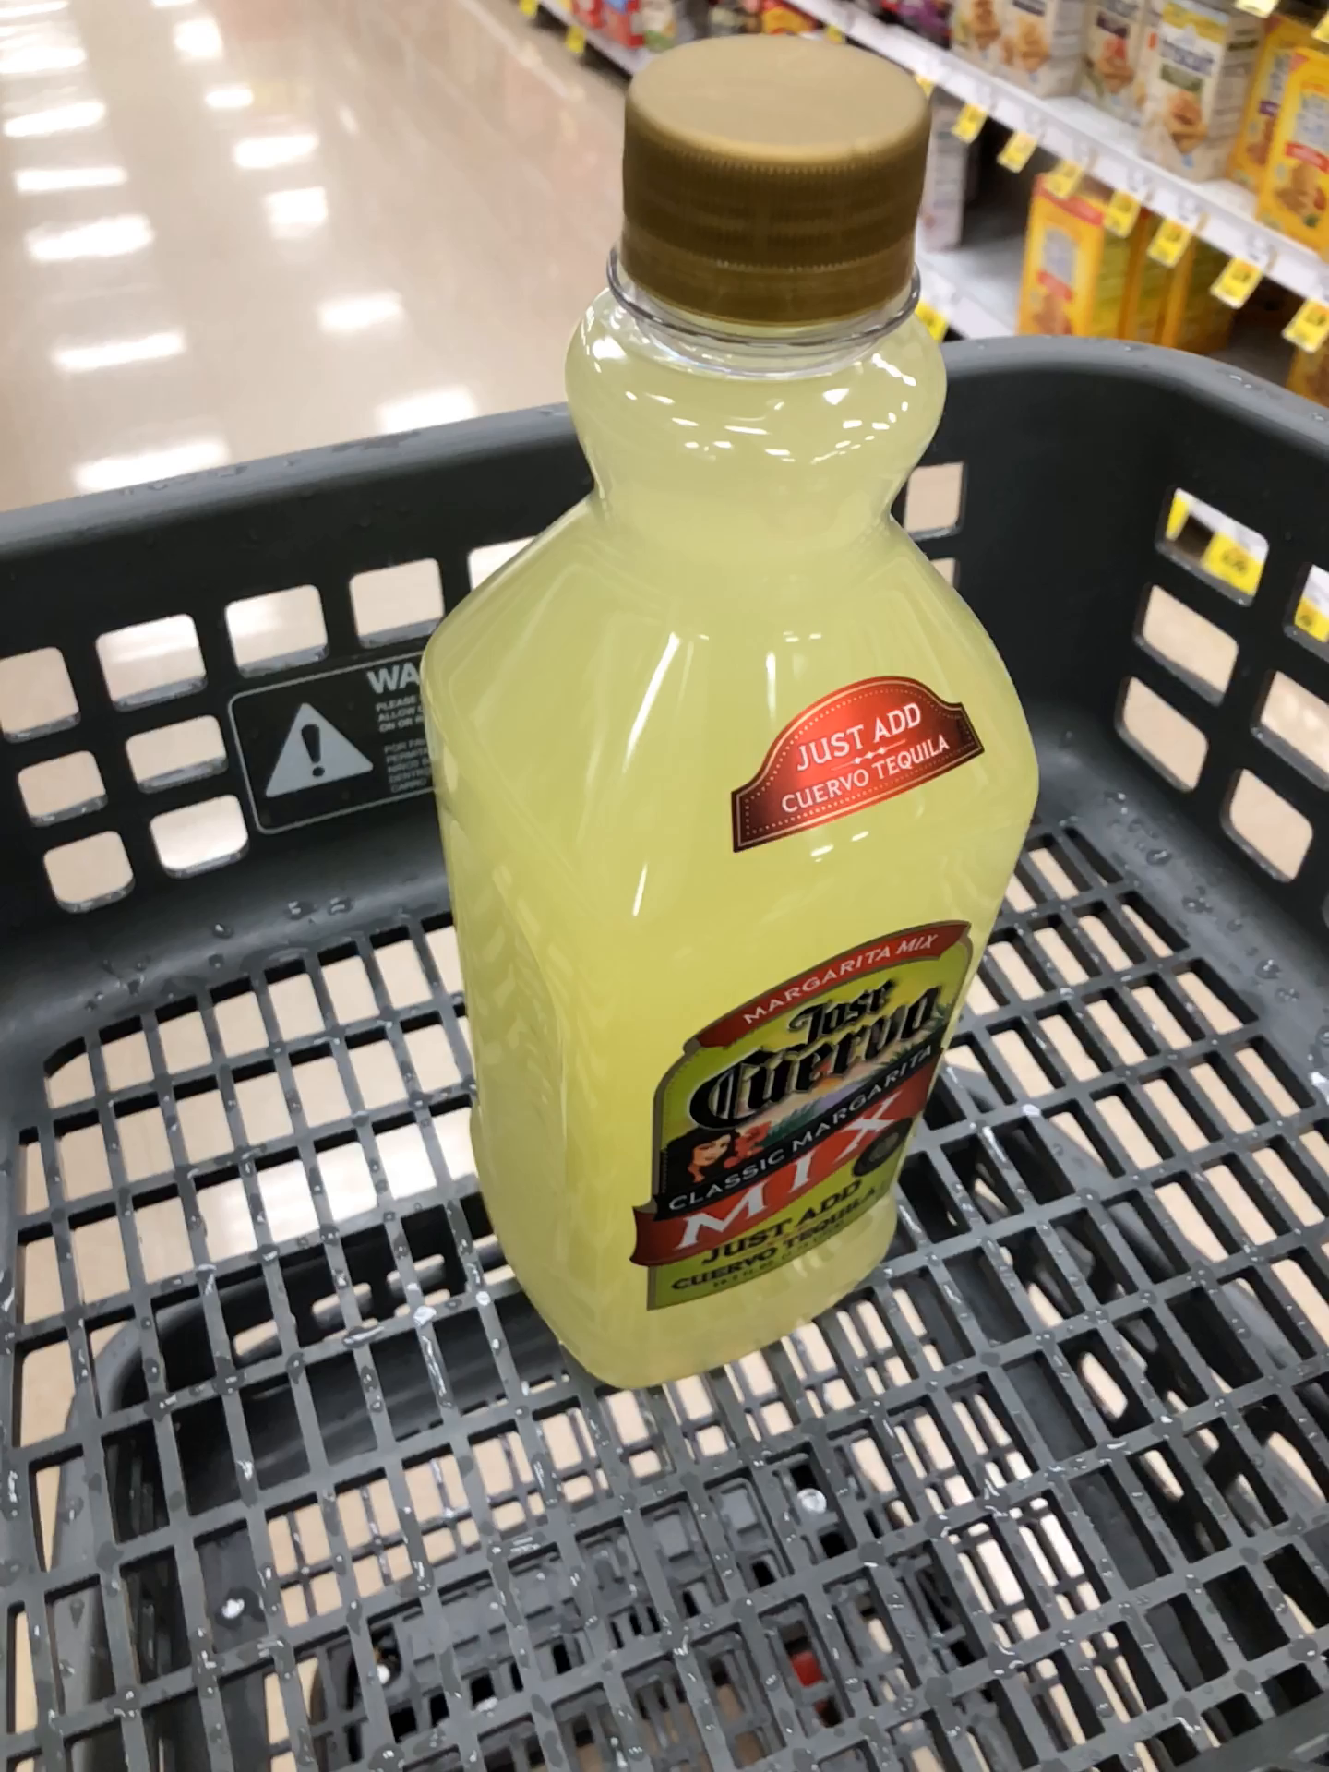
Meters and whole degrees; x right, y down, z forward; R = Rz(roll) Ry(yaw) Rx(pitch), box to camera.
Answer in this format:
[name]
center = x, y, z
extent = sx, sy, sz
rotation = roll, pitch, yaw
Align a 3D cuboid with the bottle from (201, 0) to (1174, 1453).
[bottle]
center = 0.001, -0.007, 0.302
extent = 0.110, 0.279, 0.080
rotation = -20, 48, -20
